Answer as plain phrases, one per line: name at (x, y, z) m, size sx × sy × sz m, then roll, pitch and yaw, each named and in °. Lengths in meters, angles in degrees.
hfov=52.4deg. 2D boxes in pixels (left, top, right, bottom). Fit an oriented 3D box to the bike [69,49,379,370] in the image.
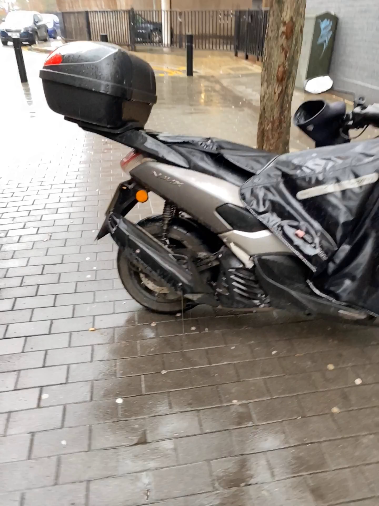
bike at (0.551, -0.233, 1.726) m, size 1.730 × 1.121 × 0.764 m, roll 3°, pitch 31°, yaw 4°
